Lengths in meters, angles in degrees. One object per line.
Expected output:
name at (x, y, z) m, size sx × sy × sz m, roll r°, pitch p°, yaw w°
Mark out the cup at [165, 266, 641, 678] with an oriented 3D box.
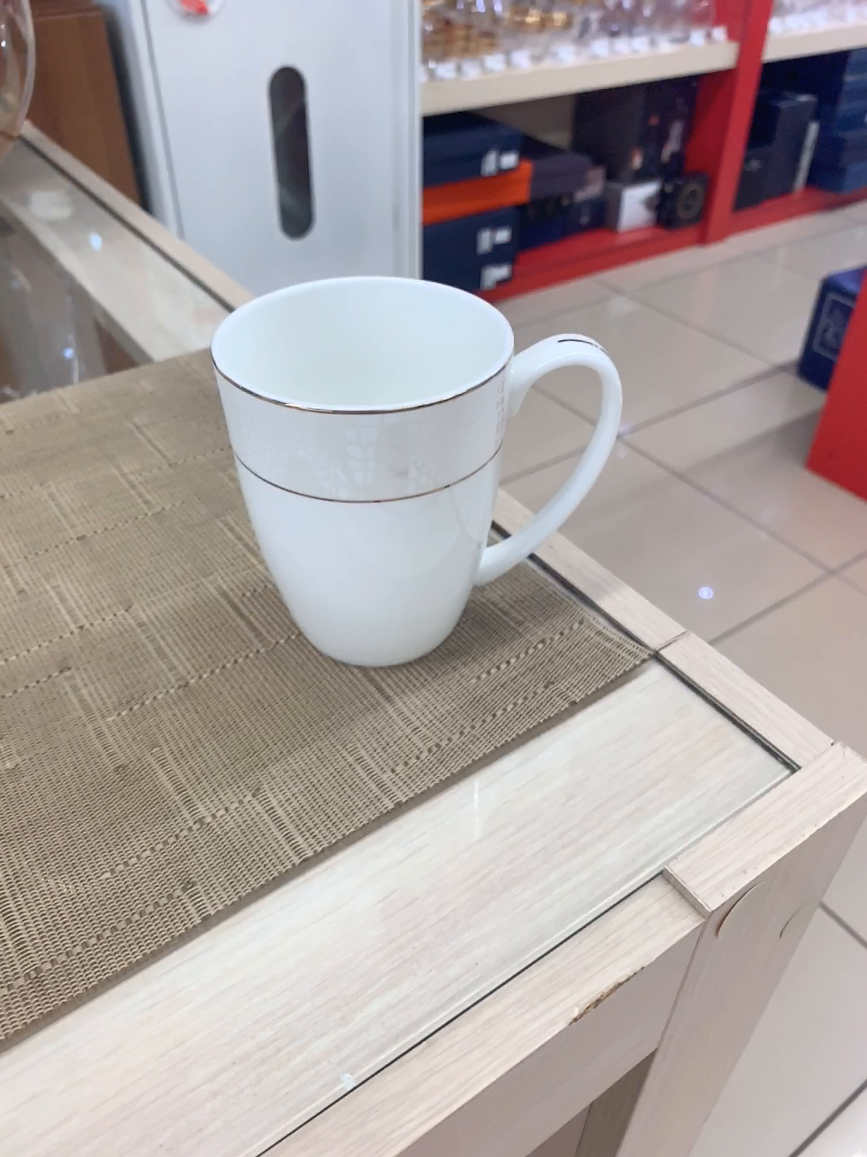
cup at (-0.009, -0.035, 0.294) m, size 0.120 × 0.100 × 0.090 m, roll 0°, pitch 39°, yaw -1°
